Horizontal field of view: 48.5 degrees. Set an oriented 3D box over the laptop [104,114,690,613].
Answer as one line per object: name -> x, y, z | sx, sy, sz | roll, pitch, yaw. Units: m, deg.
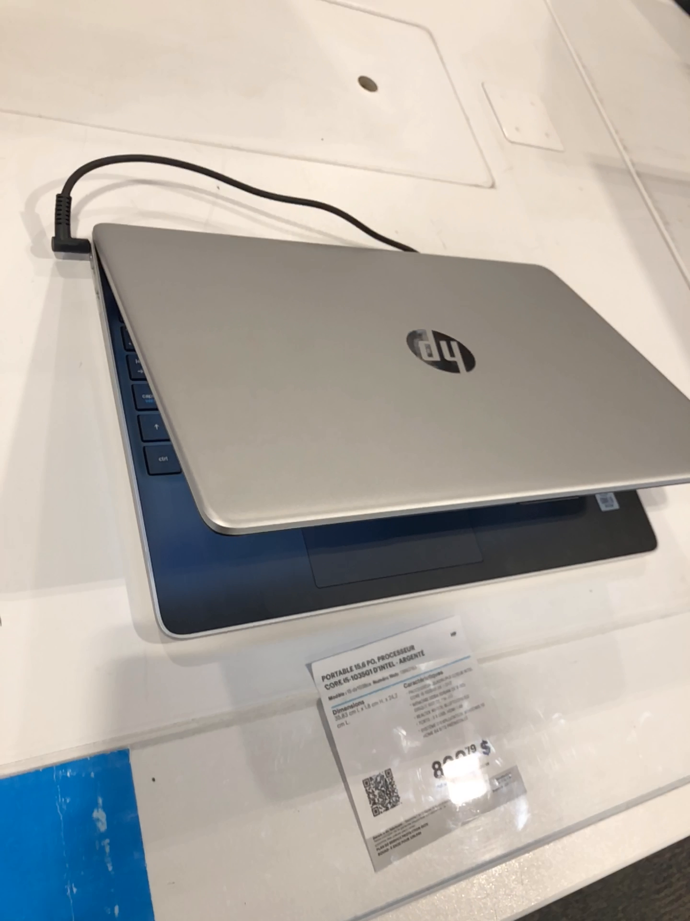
laptop -> 0.058, -0.057, 0.450 | 0.342, 0.086, 0.228 | -3, 65, -29
